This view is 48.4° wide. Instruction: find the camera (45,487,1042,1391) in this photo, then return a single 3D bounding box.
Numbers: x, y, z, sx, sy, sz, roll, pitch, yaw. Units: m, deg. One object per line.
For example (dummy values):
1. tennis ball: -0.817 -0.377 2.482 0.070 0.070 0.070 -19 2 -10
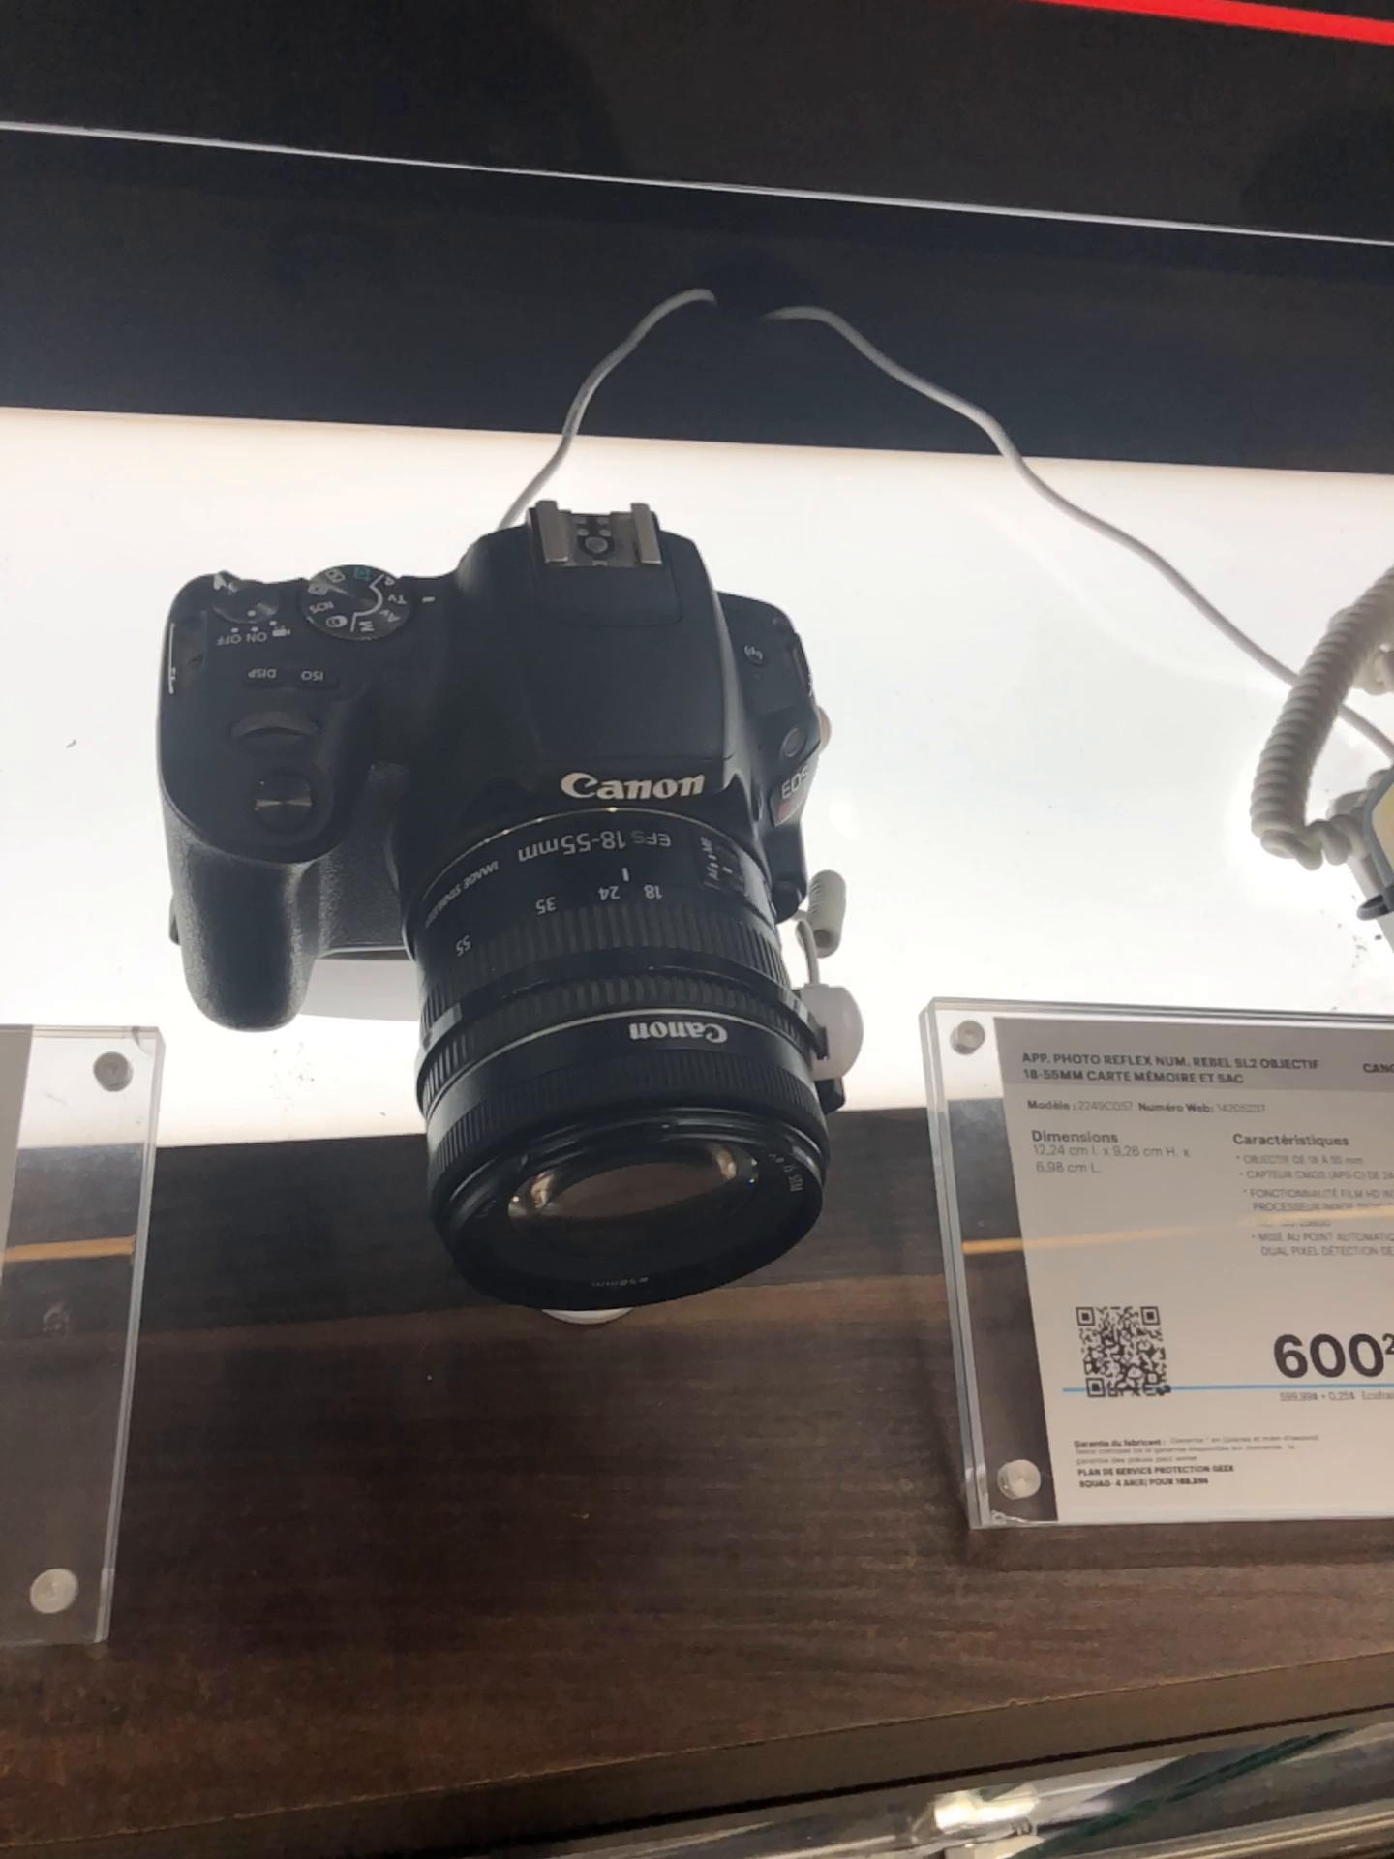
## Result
1. camera: -0.030 -0.002 0.260 0.124 0.082 0.119 -2 52 -12
